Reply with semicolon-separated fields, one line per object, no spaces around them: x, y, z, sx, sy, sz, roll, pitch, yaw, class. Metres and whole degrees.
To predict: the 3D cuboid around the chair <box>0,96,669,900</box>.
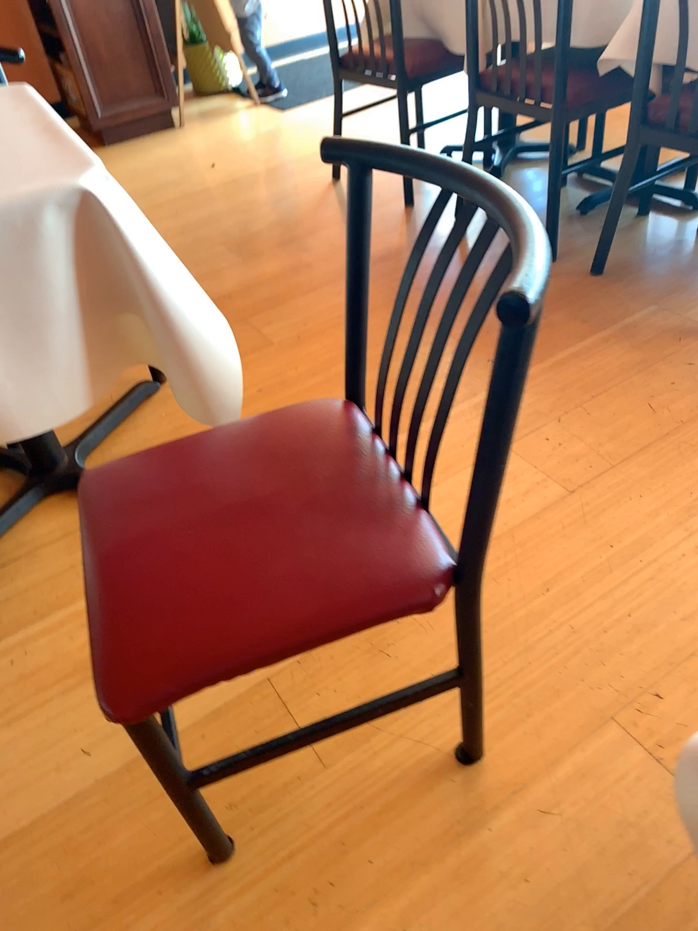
-0.074;0.055;0.888;0.570;0.725;0.483;-19;44;-10;chair
